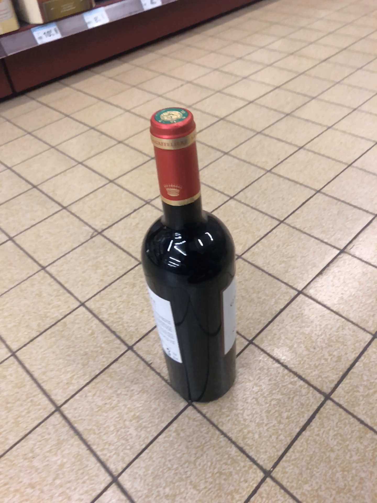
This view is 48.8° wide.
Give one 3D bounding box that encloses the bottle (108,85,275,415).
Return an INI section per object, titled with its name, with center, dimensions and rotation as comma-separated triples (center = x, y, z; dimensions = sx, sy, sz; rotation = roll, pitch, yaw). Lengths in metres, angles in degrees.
[bottle]
center = 0.011, 0.024, 0.353
dimensions = 0.090, 0.287, 0.091
rotation = -3, 43, 3
